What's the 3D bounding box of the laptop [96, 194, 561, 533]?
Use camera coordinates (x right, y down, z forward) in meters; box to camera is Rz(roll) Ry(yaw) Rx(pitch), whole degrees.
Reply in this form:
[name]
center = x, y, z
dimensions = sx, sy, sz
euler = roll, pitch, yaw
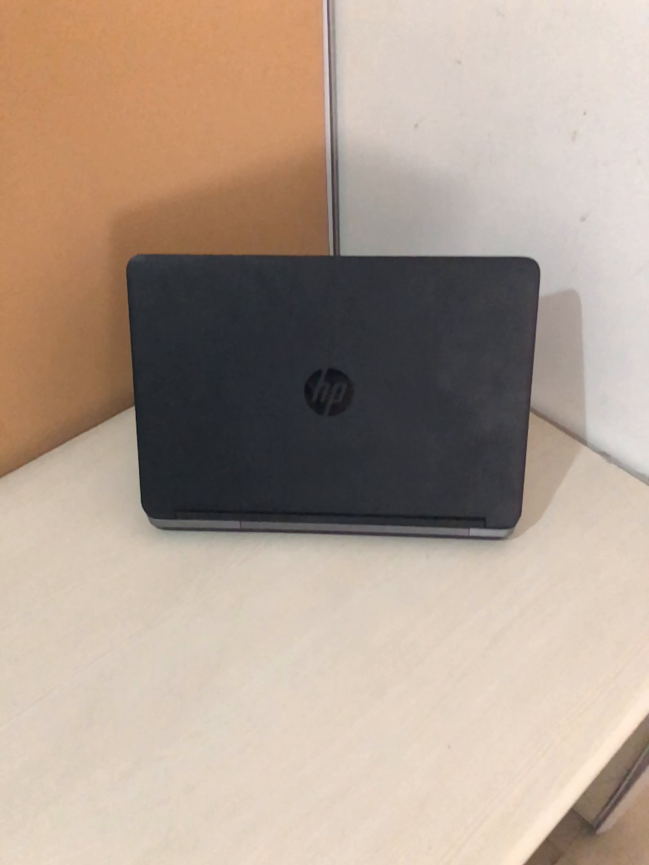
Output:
[laptop]
center = 0.006, -0.067, 0.635
dimensions = 0.318, 0.192, 0.229
euler = 1, 44, 3
